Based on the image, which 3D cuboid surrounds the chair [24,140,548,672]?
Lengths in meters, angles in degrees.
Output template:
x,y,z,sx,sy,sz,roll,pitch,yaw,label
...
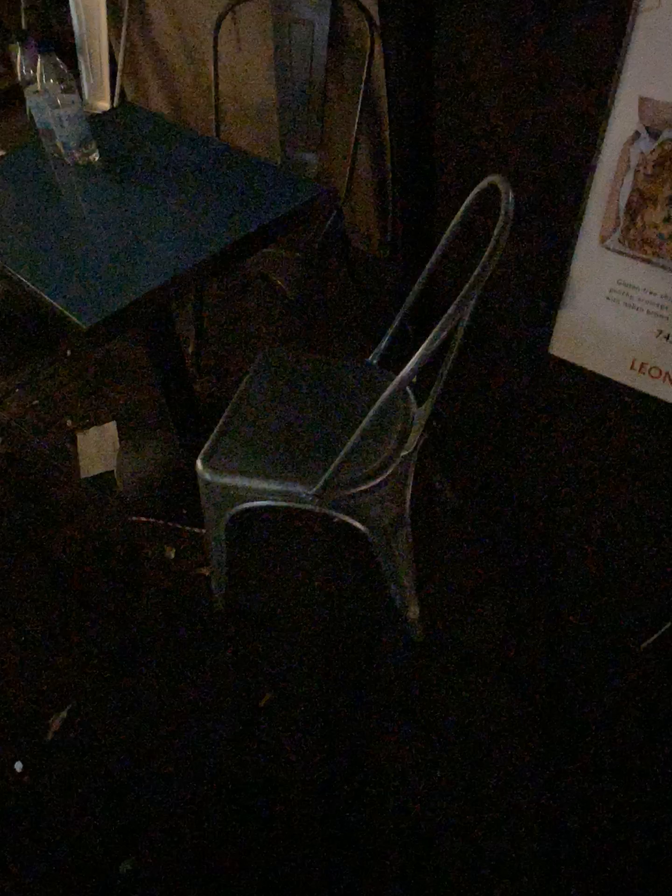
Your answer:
x,y,z,sx,sy,sz,roll,pitch,yaw,label
0.004,-0.058,1.179,0.600,0.723,0.504,6,48,12,chair
